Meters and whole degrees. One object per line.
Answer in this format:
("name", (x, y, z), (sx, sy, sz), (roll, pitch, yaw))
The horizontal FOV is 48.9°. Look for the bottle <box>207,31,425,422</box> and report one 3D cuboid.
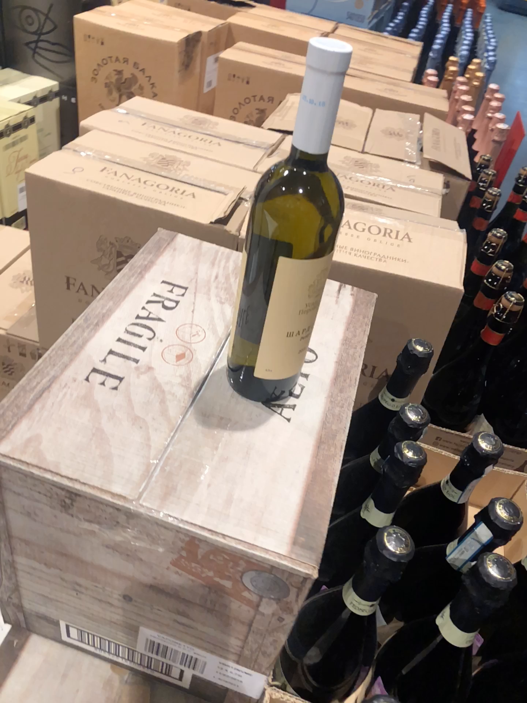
("bottle", (0.028, -0.088, 0.481), (0.080, 0.298, 0.090), (35, 45, 26))
